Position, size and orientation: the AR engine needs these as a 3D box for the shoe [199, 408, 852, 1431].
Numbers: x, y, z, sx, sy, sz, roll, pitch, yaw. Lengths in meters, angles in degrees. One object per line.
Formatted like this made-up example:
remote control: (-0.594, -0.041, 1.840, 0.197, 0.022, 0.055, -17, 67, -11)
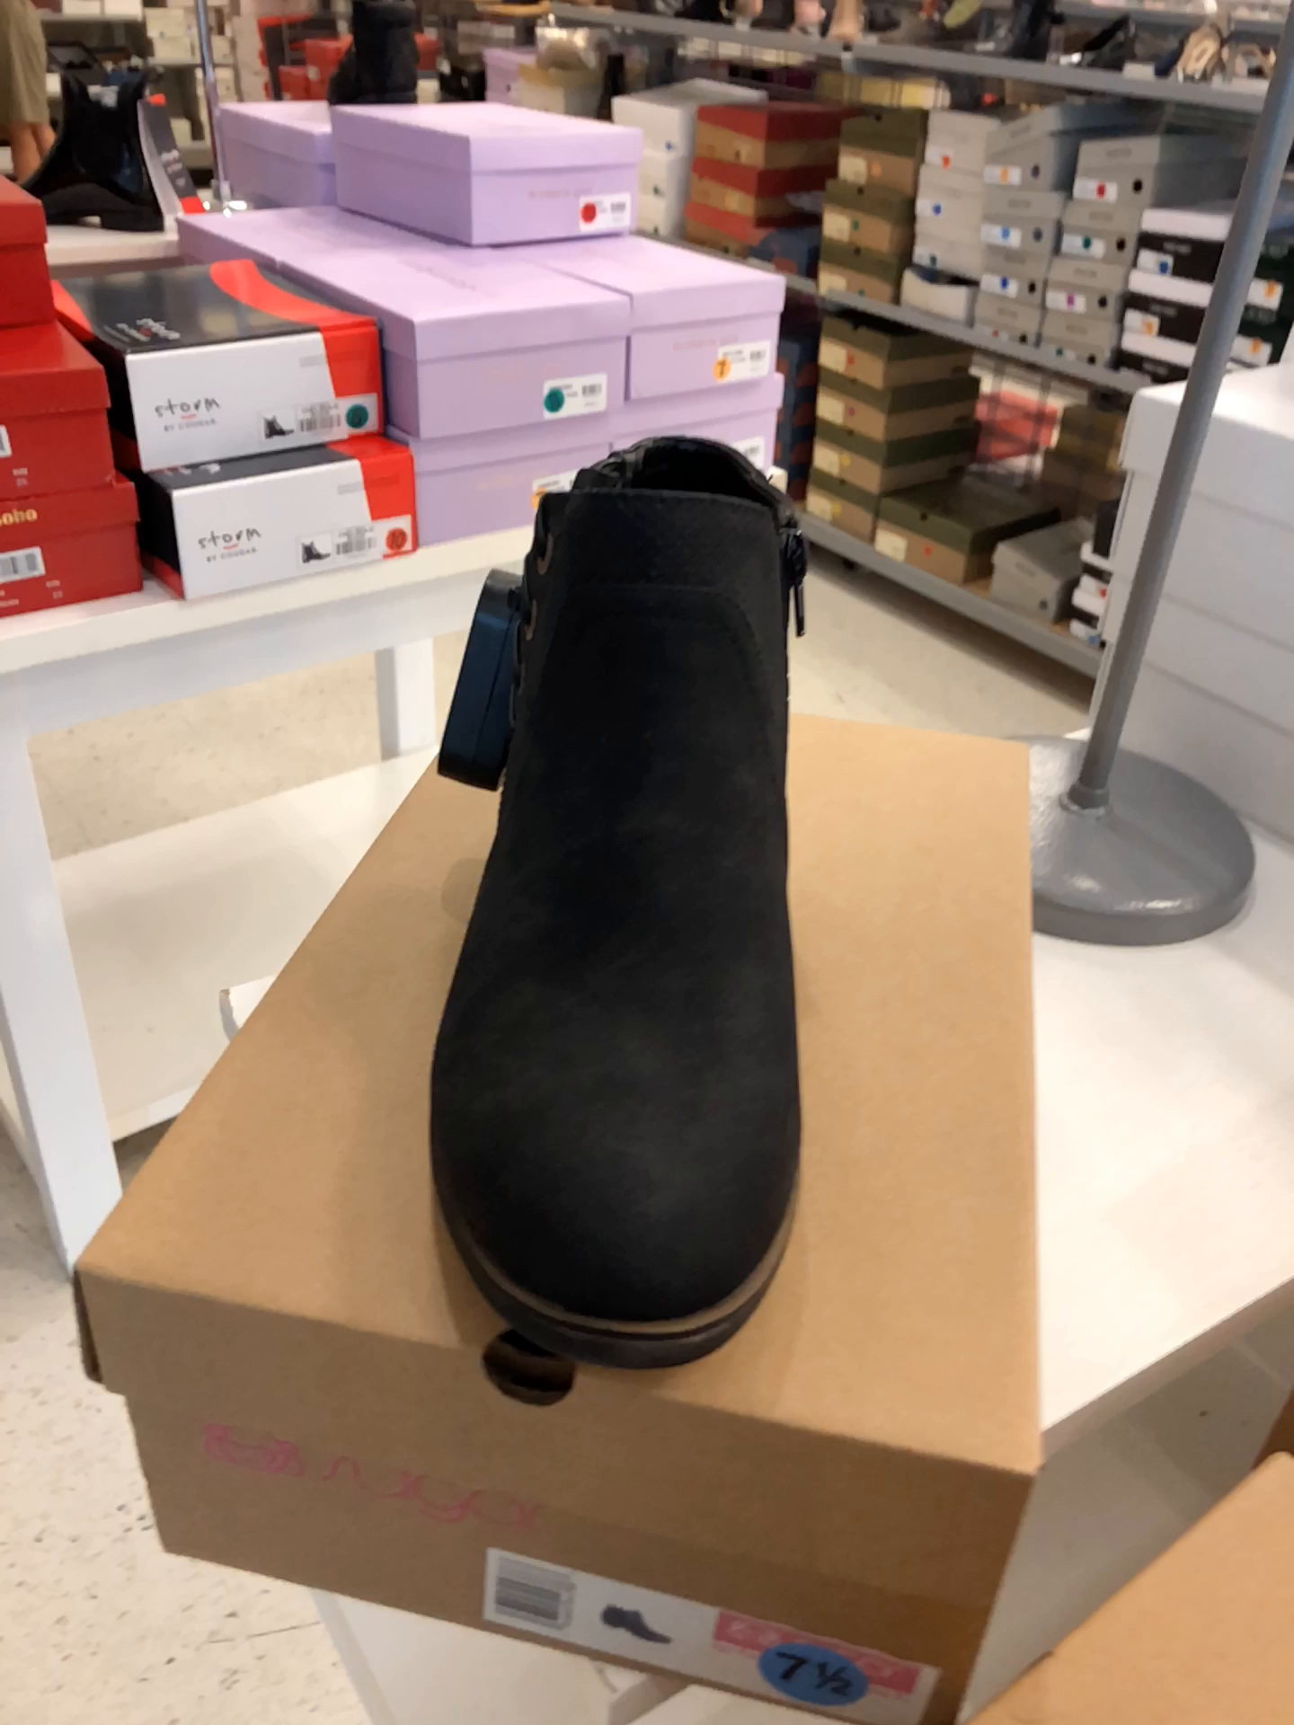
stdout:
shoe: (-0.010, -0.015, 0.358, 0.100, 0.119, 0.262, 5, 33, 3)
